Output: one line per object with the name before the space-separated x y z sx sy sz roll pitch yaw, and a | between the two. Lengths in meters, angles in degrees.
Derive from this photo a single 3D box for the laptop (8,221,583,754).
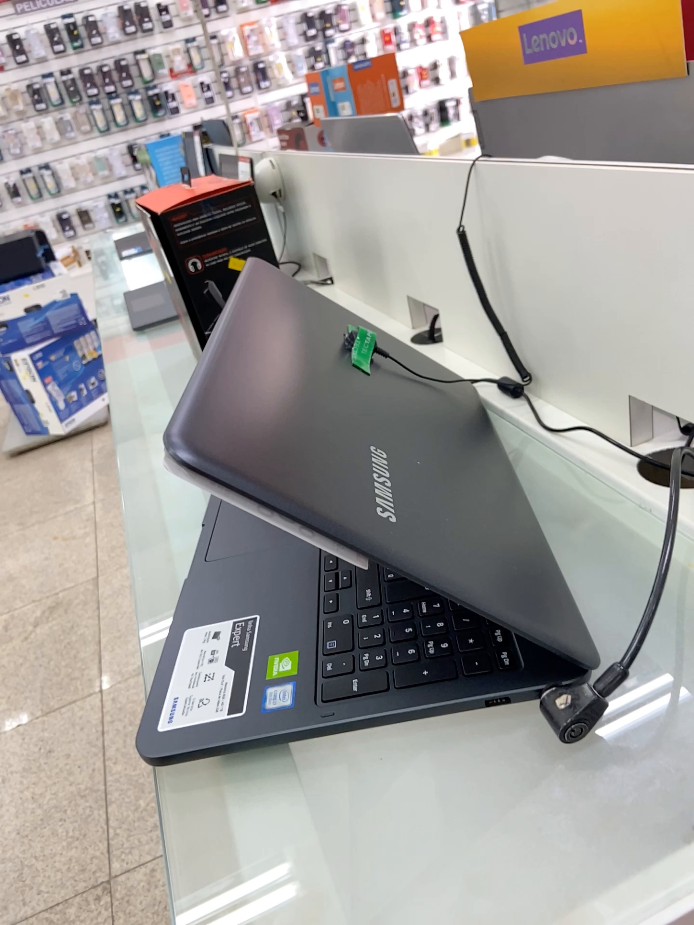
laptop | -0.019 -0.024 0.487 0.231 0.158 0.359 -13 28 5
